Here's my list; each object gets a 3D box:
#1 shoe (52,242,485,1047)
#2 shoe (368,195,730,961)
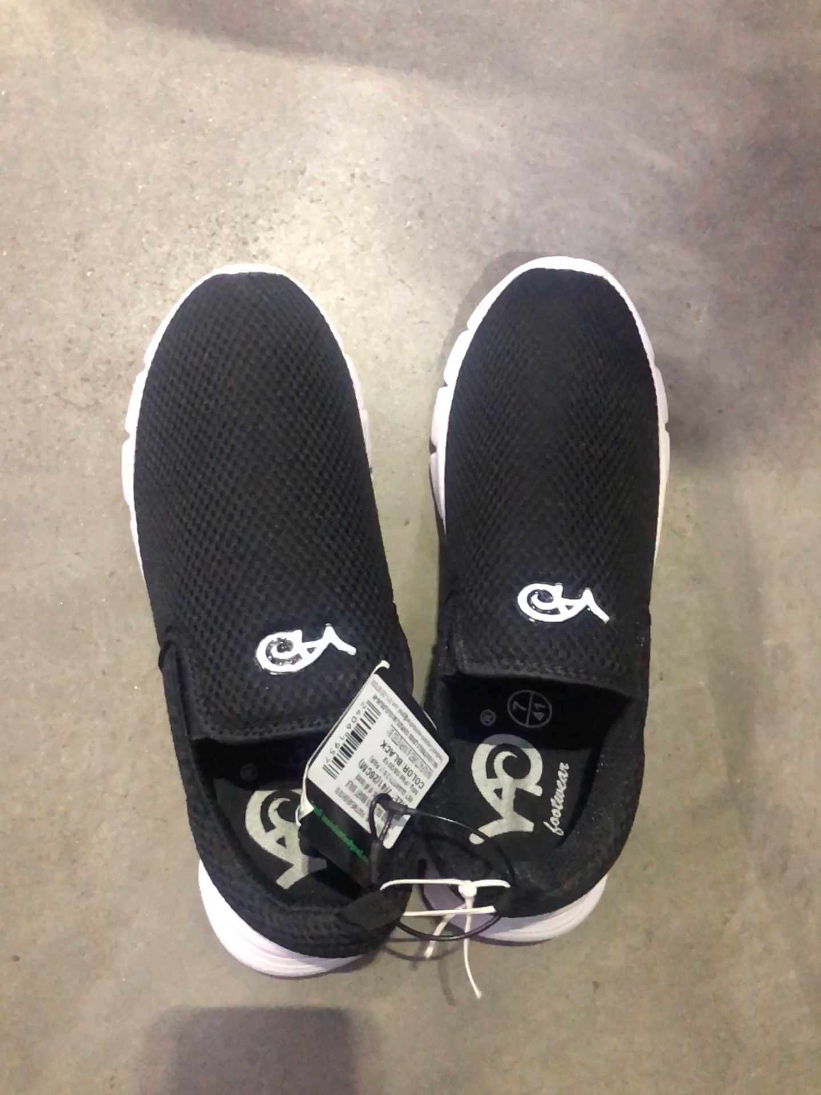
[{"bbox_3d":[-0.057,0.029,0.360,0.110,0.100,0.260,-8,84,-10],"label":"shoe"},{"bbox_3d":[0.054,0.010,0.380,0.110,0.100,0.270,6,81,1],"label":"shoe"}]
